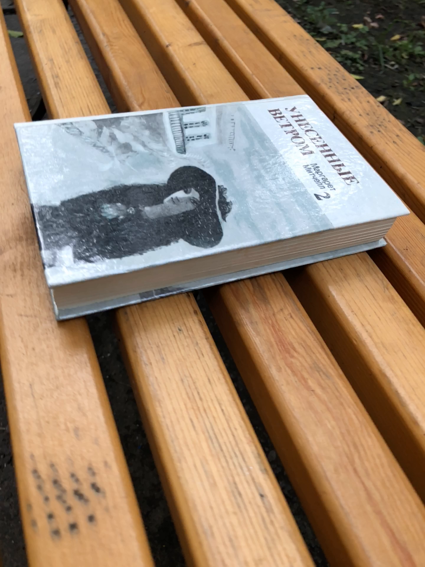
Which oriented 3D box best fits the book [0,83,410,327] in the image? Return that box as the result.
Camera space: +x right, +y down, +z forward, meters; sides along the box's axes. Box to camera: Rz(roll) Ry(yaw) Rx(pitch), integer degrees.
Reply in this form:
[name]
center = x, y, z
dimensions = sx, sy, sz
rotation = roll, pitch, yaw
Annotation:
[book]
center = -0.011, -0.063, 0.289
dimensions = 0.210, 0.030, 0.140
rotation = -13, 54, -17
